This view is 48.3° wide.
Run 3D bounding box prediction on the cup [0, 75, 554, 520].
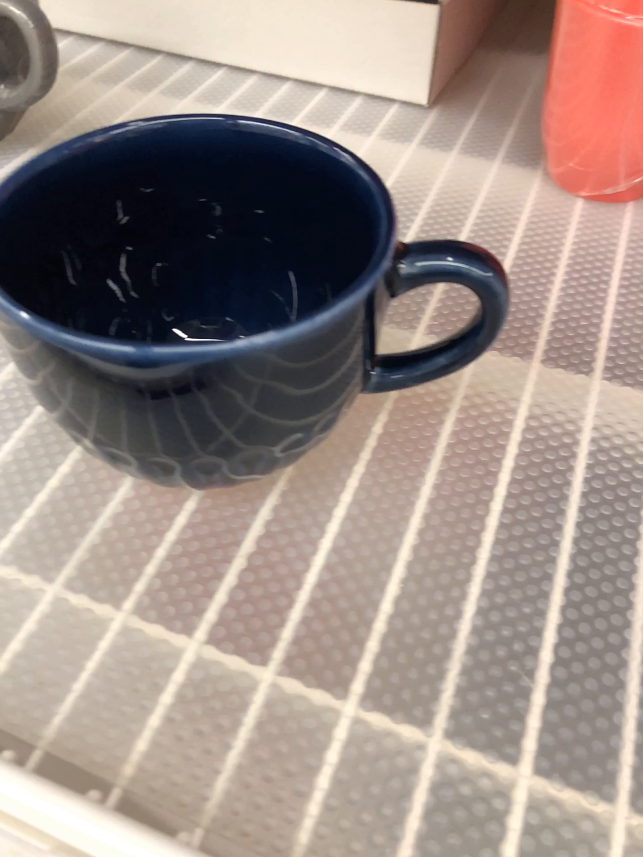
[{"bbox_3d":[-0.021,-0.040,0.194,0.130,0.060,0.110,2,48,0],"label":"cup"}]
